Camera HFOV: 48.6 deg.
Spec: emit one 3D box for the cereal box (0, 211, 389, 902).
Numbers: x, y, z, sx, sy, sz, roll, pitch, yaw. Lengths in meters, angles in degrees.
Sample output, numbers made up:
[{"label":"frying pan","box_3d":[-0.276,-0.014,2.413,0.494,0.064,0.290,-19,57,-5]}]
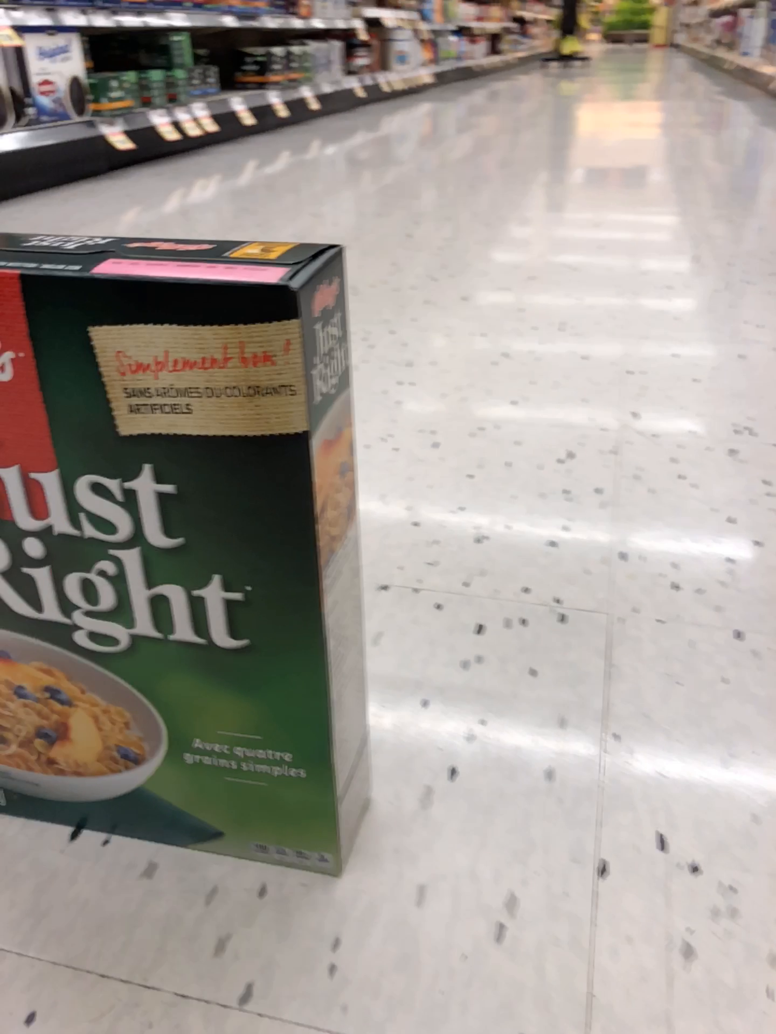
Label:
[{"label":"cereal box","box_3d":[-0.111,0.024,0.347,0.210,0.268,0.050,6,31,14]}]
